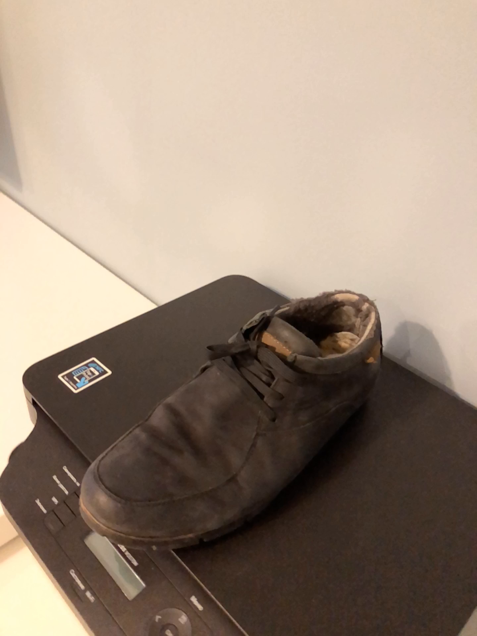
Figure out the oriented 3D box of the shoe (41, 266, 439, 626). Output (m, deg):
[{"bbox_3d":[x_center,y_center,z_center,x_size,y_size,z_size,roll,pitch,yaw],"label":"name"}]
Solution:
[{"bbox_3d":[0.015,0.073,0.407,0.281,0.109,0.110,-25,46,-34],"label":"shoe"}]
